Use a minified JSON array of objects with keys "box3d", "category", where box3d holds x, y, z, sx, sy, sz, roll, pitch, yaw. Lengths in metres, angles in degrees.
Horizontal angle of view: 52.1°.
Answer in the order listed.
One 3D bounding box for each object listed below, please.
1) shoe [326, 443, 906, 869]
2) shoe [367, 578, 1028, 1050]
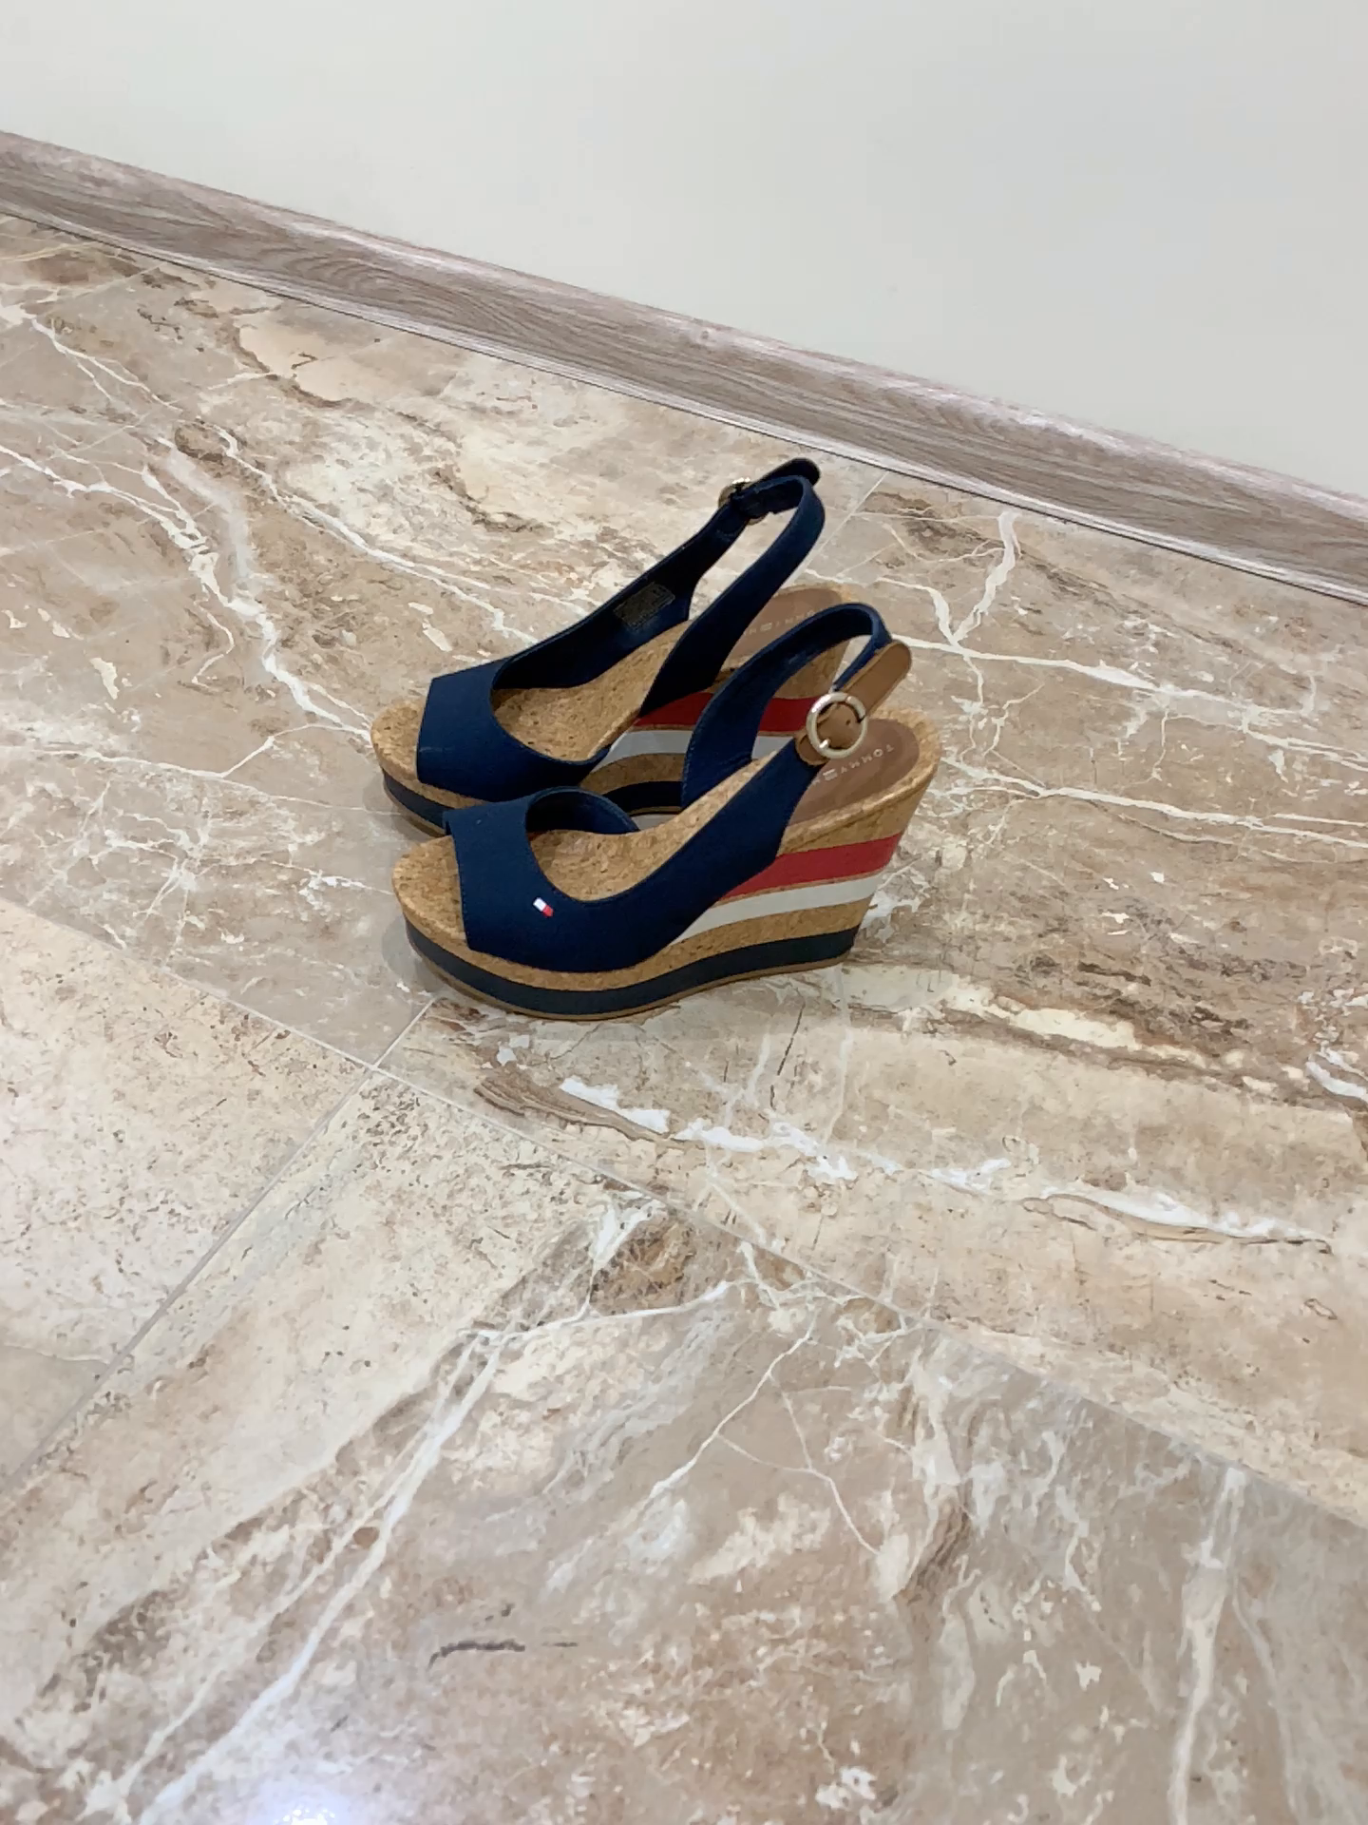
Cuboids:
[{"box3d":[-0.033,-0.106,0.587,0.210,0.145,0.090,-2,45,-8],"category":"shoe"},{"box3d":[-0.003,-0.036,0.521,0.210,0.145,0.090,-2,45,-8],"category":"shoe"}]
